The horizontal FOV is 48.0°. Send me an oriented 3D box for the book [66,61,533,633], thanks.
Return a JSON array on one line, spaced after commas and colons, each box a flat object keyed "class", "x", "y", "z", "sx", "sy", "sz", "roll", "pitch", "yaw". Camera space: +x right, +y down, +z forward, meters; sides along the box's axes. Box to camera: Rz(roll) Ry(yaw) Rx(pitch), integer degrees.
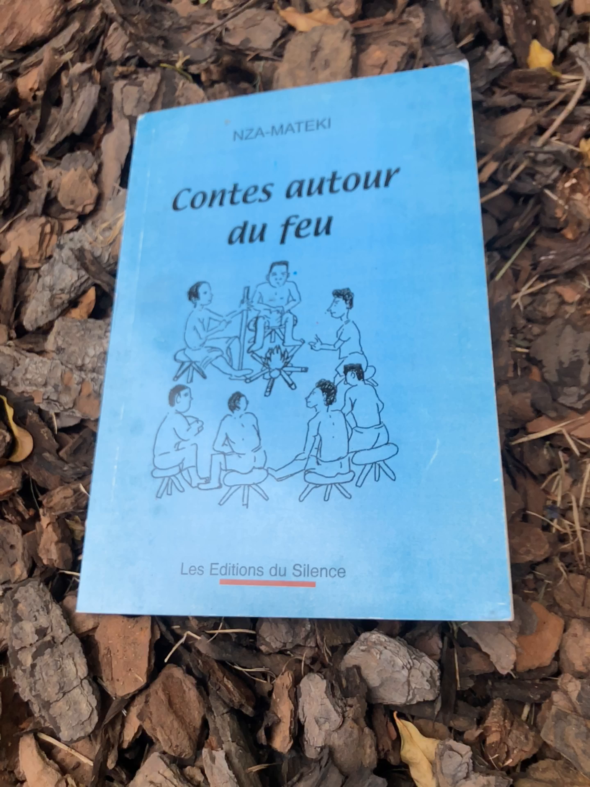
[{"class": "book", "x": 0.000, "y": -0.024, "z": 0.239, "sx": 0.144, "sy": 0.015, "sz": 0.202, "roll": -3, "pitch": 70, "yaw": 13}]
